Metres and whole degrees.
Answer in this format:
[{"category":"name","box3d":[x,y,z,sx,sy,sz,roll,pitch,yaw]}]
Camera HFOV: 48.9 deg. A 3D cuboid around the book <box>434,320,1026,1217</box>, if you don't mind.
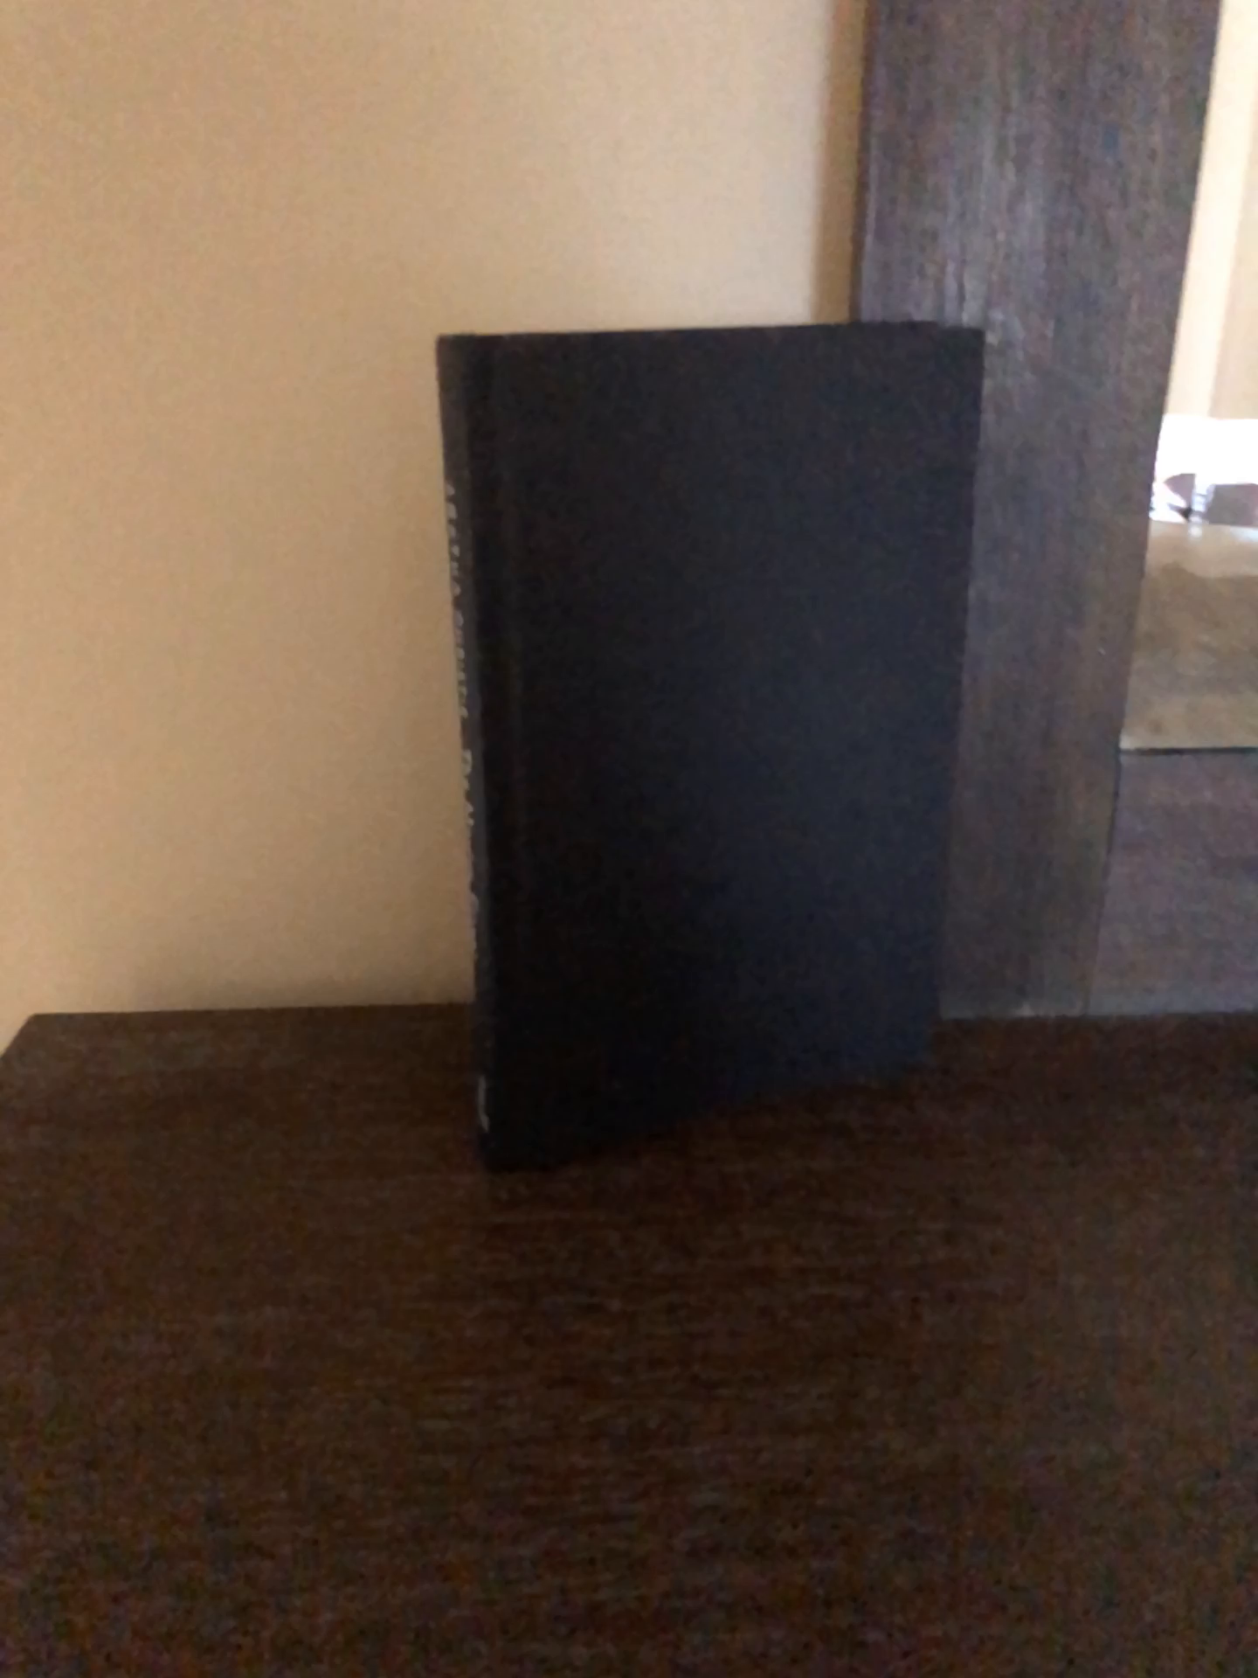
[{"category":"book","box3d":[0.029,-0.019,0.381,0.150,0.229,0.028,-10,23,-23]}]
